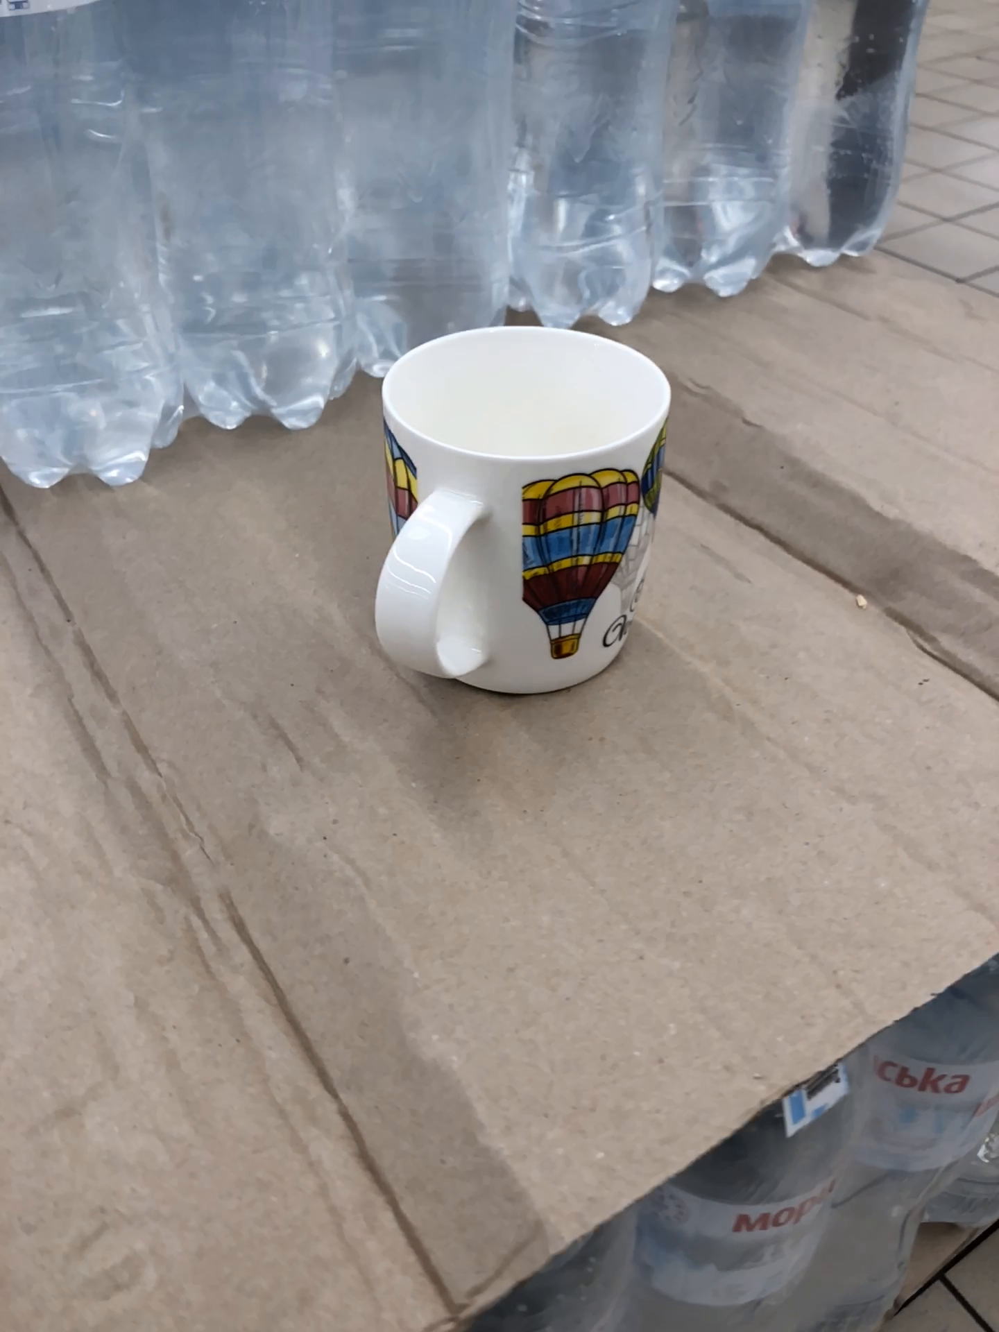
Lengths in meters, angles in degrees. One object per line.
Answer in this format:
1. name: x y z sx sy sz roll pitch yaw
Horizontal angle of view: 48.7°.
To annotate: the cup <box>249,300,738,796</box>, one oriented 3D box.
1. cup: 0.005 -0.045 0.353 0.093 0.082 0.132 18 45 23
